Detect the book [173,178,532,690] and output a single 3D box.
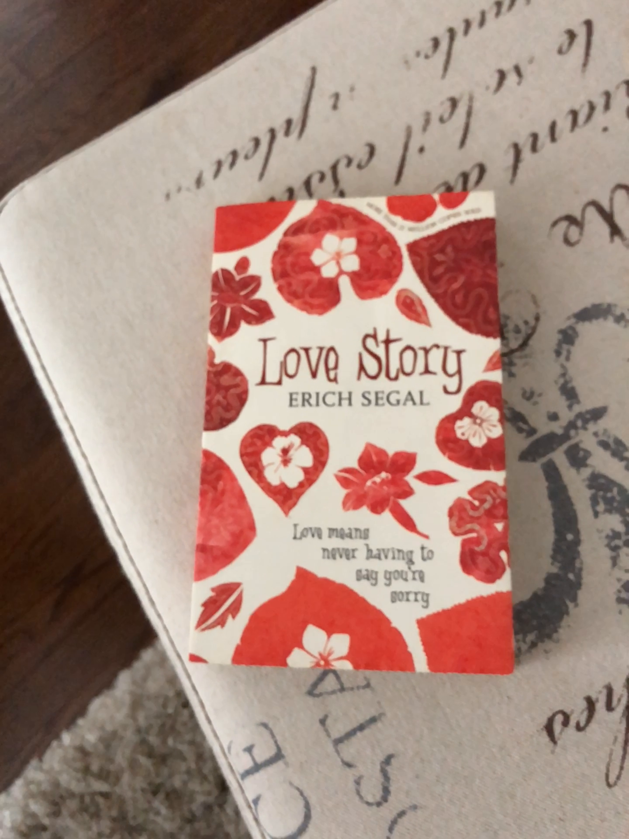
[{"bbox_3d":[0.014,0.000,0.271,0.120,0.020,0.188,-1,76,7],"label":"book"}]
